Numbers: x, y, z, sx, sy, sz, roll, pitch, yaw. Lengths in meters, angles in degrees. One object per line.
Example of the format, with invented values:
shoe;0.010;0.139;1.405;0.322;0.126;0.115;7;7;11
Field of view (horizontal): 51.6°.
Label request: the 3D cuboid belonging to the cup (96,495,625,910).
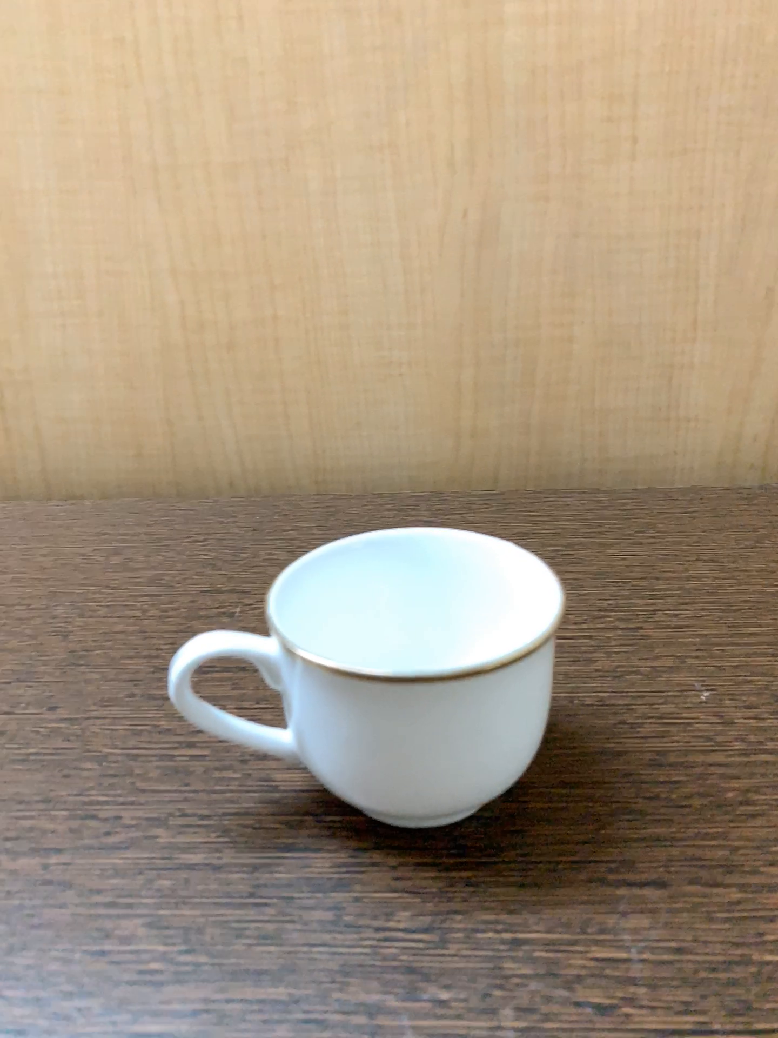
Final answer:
cup;-0.007;0.033;0.173;0.090;0.050;0.060;-6;23;-8
